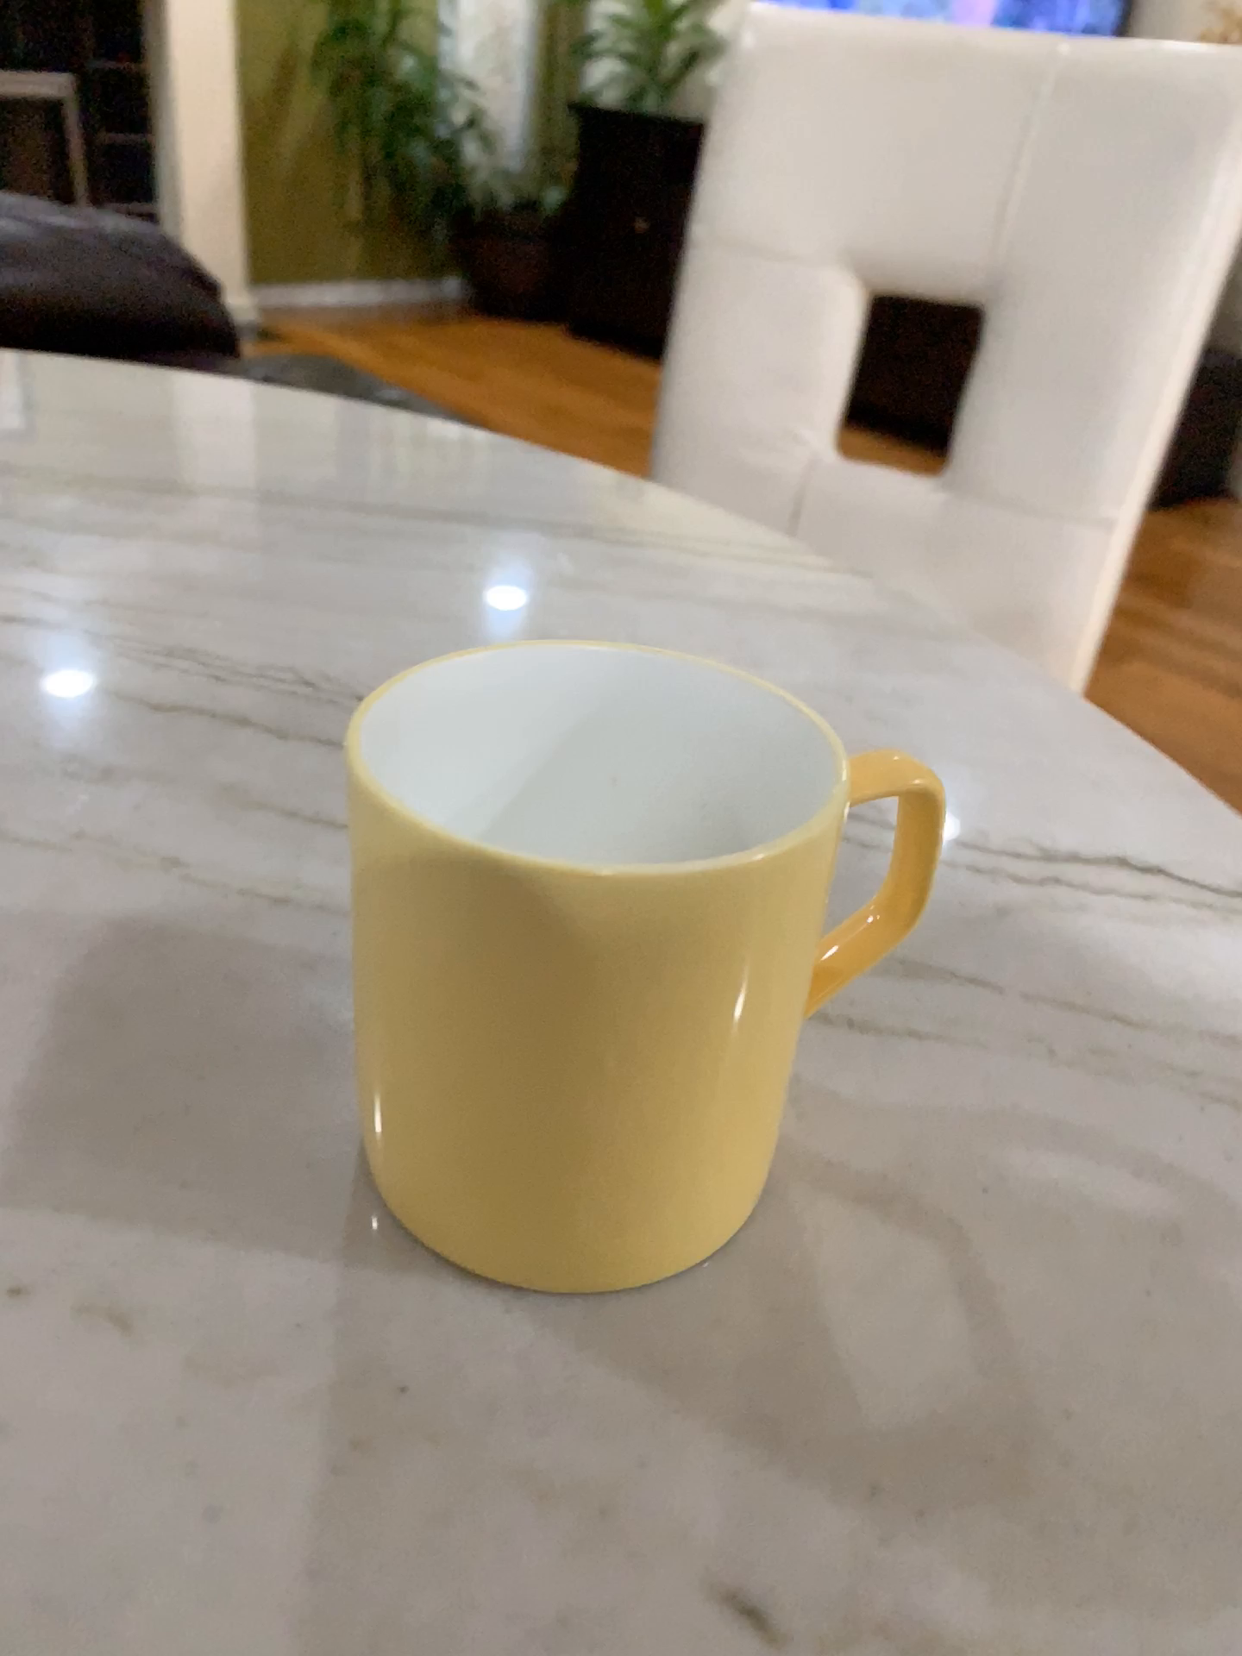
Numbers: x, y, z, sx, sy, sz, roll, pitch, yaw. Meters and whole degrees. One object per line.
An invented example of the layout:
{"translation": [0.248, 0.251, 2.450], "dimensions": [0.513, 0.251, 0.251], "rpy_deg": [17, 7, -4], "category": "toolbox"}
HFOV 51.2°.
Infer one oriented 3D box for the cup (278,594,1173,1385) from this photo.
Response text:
{"translation": [0.011, 0.016, 0.209], "dimensions": [0.110, 0.074, 0.075], "rpy_deg": [-11, 34, -26], "category": "cup"}
